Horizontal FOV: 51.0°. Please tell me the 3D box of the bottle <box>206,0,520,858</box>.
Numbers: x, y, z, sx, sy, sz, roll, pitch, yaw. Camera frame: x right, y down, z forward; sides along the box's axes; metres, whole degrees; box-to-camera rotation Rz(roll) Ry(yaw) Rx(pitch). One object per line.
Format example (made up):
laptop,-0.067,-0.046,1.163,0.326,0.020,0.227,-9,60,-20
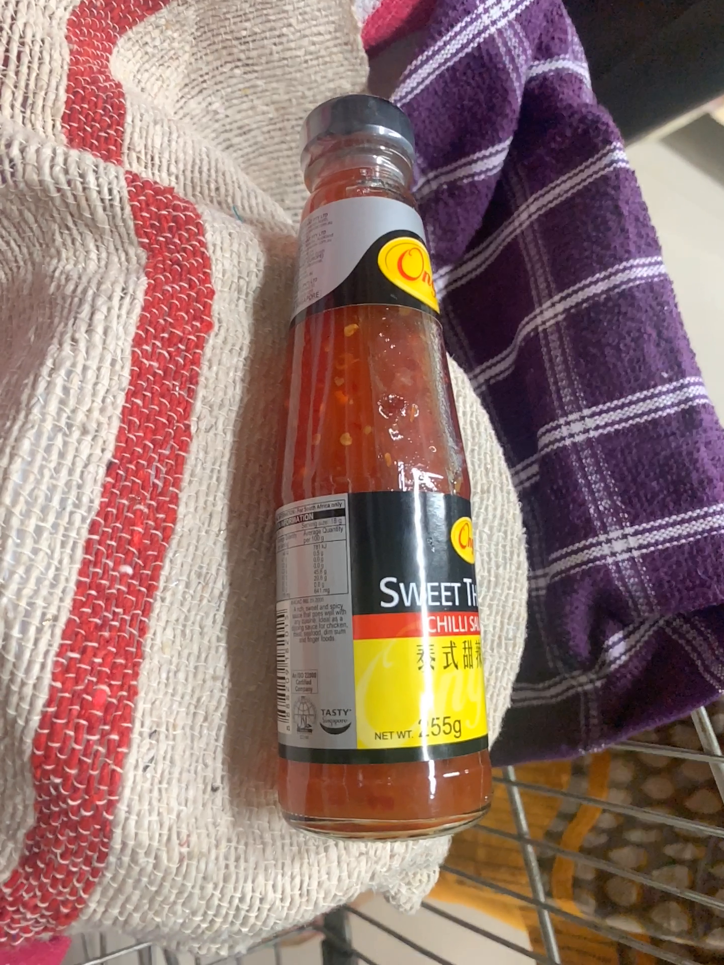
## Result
bottle,0.005,-0.016,0.196,0.060,0.050,0.190,22,66,-59
